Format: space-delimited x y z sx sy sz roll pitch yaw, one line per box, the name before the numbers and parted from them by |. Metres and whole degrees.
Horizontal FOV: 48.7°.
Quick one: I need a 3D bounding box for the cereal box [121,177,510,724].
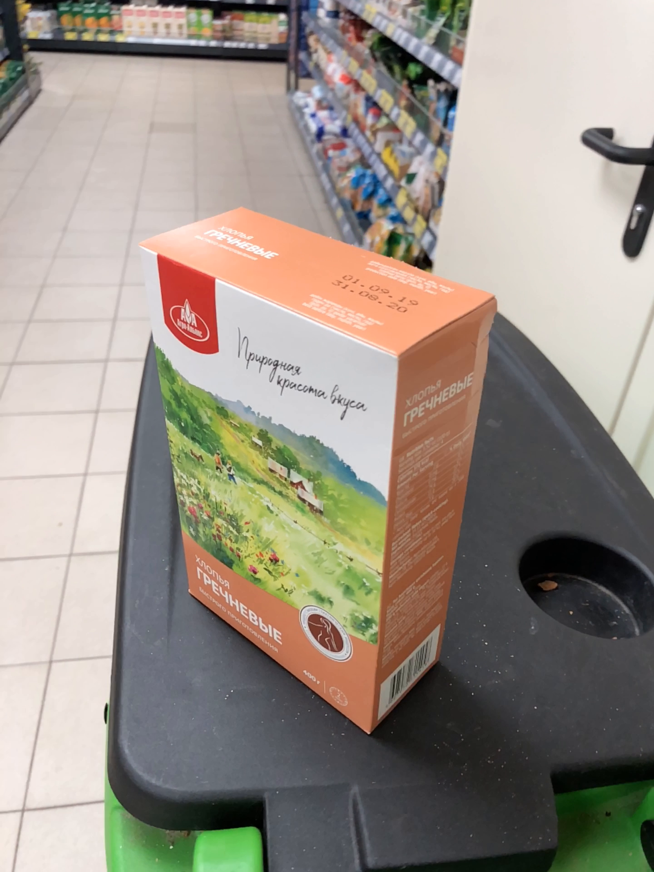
cereal box | -0.010 0.010 0.331 0.140 0.209 0.060 28 45 32
